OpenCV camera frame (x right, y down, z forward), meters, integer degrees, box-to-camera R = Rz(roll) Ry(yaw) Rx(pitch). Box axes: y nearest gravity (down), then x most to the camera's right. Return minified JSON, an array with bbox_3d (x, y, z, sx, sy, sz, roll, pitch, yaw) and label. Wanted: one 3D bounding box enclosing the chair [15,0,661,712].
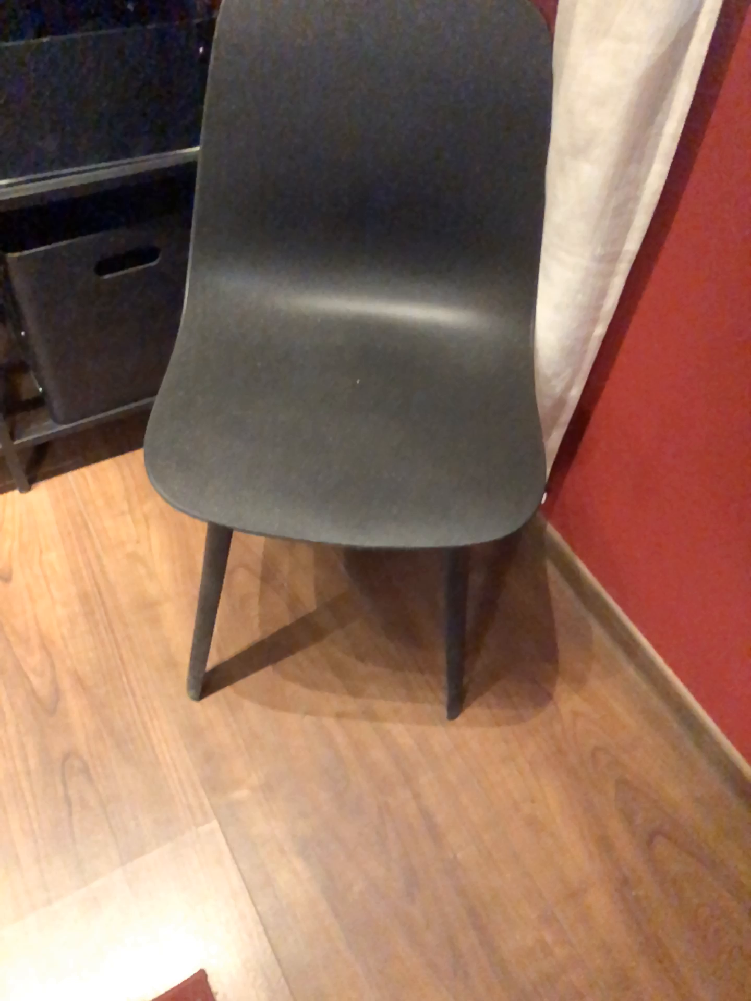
[{"bbox_3d":[-0.043,-0.151,0.957,0.410,0.725,0.483,6,51,-2],"label":"chair"}]
